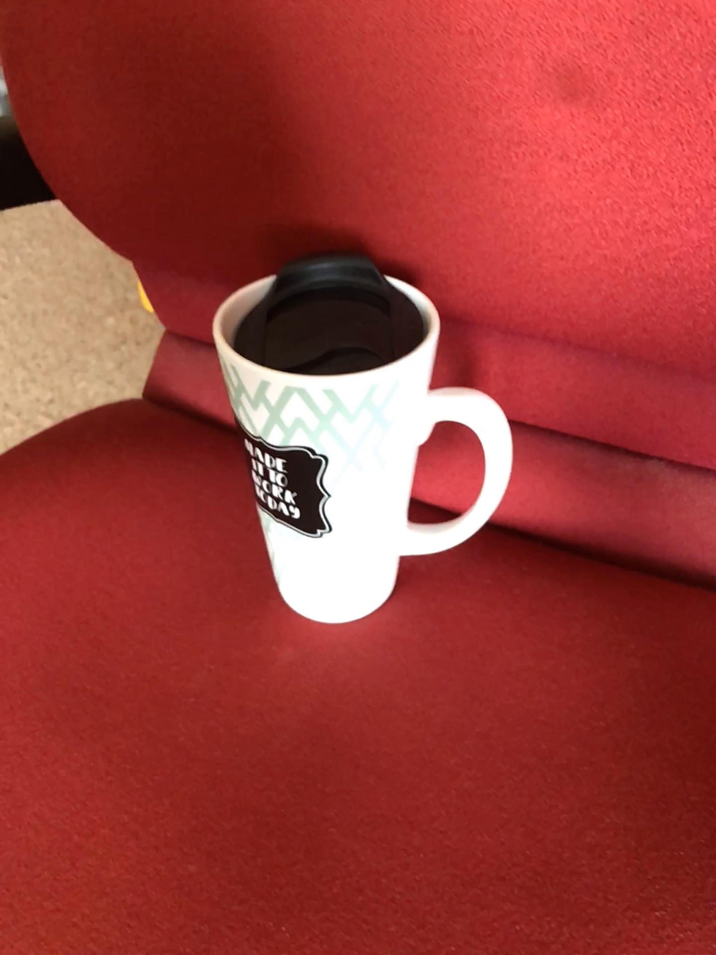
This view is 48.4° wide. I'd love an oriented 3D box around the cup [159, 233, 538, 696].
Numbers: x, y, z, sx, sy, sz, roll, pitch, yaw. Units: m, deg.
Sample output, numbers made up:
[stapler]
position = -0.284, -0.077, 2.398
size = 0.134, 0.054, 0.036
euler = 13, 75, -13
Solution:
[cup]
position = 0.004, -0.007, 0.352
size = 0.120, 0.160, 0.080
euler = 21, 48, 31
